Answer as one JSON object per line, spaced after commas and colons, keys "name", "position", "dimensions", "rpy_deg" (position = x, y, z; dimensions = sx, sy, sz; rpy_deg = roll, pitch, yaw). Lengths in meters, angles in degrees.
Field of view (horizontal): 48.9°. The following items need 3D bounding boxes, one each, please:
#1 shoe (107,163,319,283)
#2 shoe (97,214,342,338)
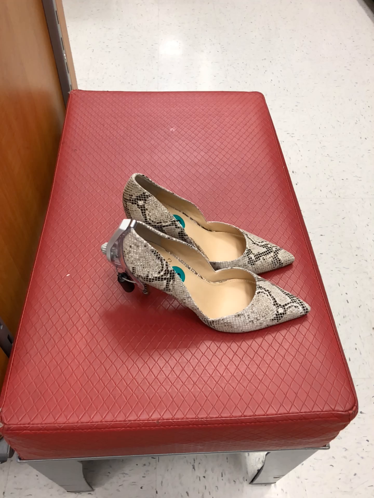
{"name": "shoe", "position": [0.033, -0.036, 0.569], "dimensions": [0.259, 0.102, 0.093], "rpy_deg": [7, 51, 3]}
{"name": "shoe", "position": [0.034, 0.035, 0.512], "dimensions": [0.262, 0.111, 0.093], "rpy_deg": [3, 51, 1]}
